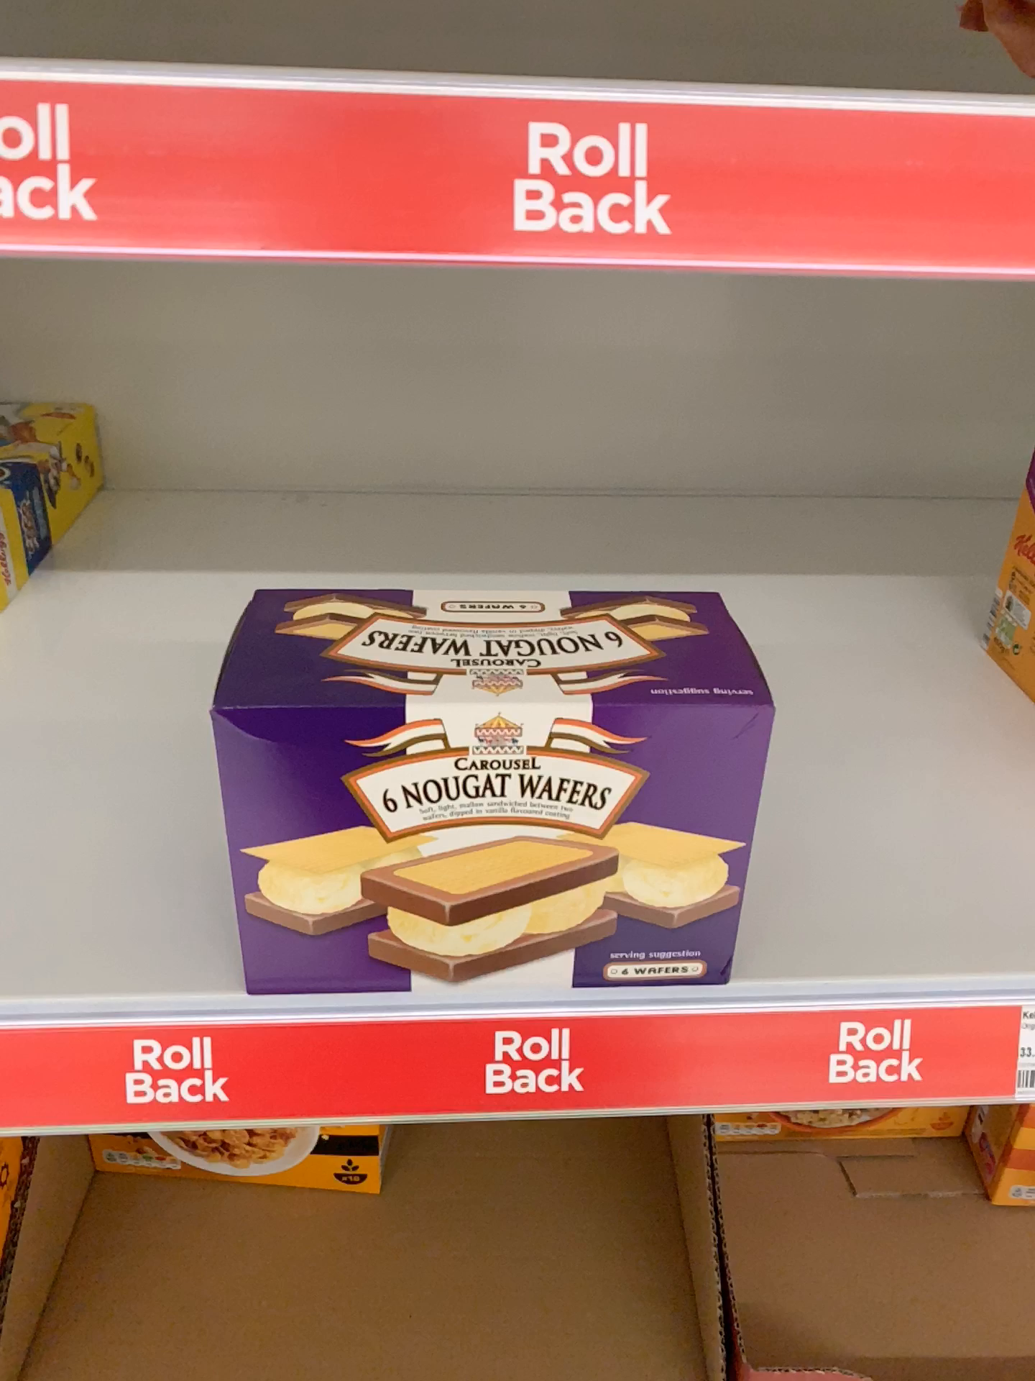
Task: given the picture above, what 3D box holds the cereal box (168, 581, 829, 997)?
[{"bbox_3d":[-0.008,0.031,0.372,0.190,0.109,0.091,0,30,-4],"label":"cereal box"}]
